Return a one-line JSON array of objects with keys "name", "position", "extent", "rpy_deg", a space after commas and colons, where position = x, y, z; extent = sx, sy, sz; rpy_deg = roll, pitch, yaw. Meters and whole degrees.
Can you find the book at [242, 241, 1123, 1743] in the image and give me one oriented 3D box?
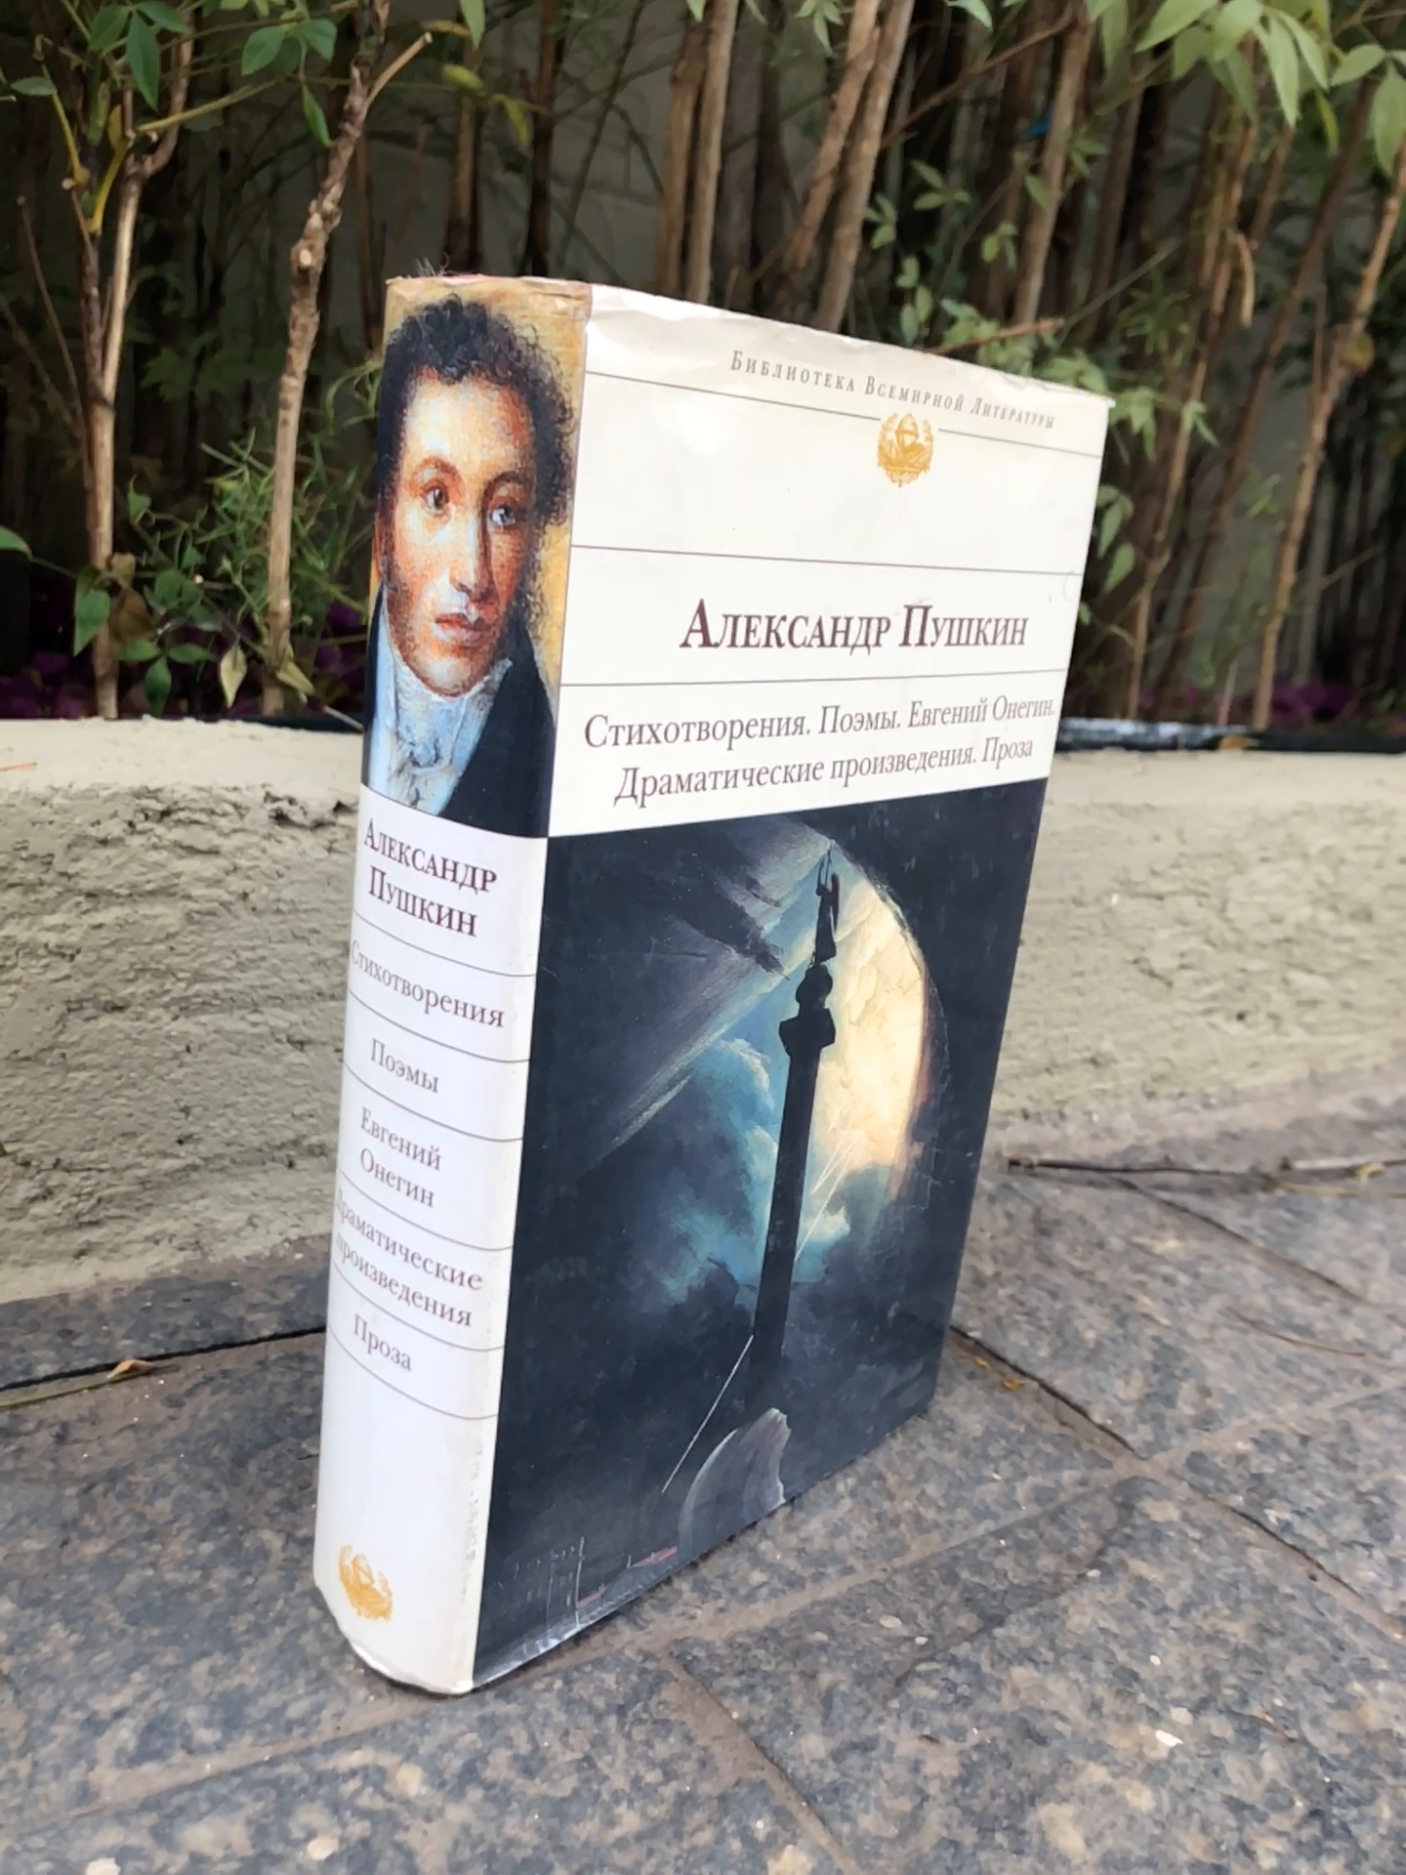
[{"name": "book", "position": [0.002, 0.003, 0.277], "extent": [0.050, 0.204, 0.150], "rpy_deg": [16, 17, 38]}]
